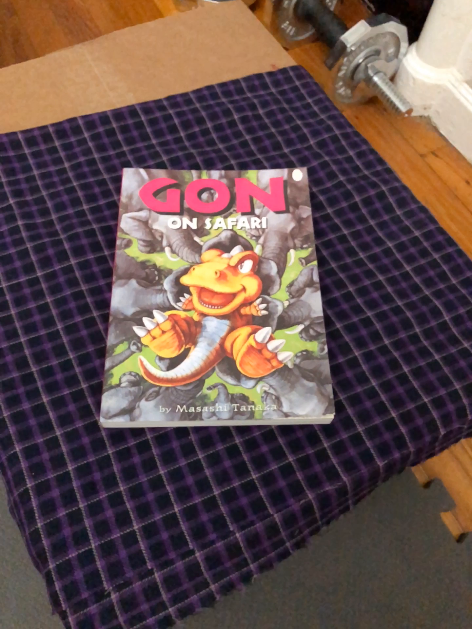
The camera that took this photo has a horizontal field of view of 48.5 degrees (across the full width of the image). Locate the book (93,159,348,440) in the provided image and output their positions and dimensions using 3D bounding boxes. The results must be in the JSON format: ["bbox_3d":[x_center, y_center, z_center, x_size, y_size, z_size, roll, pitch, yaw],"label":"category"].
[{"bbox_3d":[-0.011,-0.021,0.366,0.150,0.020,0.211,0,62,-3],"label":"book"}]
